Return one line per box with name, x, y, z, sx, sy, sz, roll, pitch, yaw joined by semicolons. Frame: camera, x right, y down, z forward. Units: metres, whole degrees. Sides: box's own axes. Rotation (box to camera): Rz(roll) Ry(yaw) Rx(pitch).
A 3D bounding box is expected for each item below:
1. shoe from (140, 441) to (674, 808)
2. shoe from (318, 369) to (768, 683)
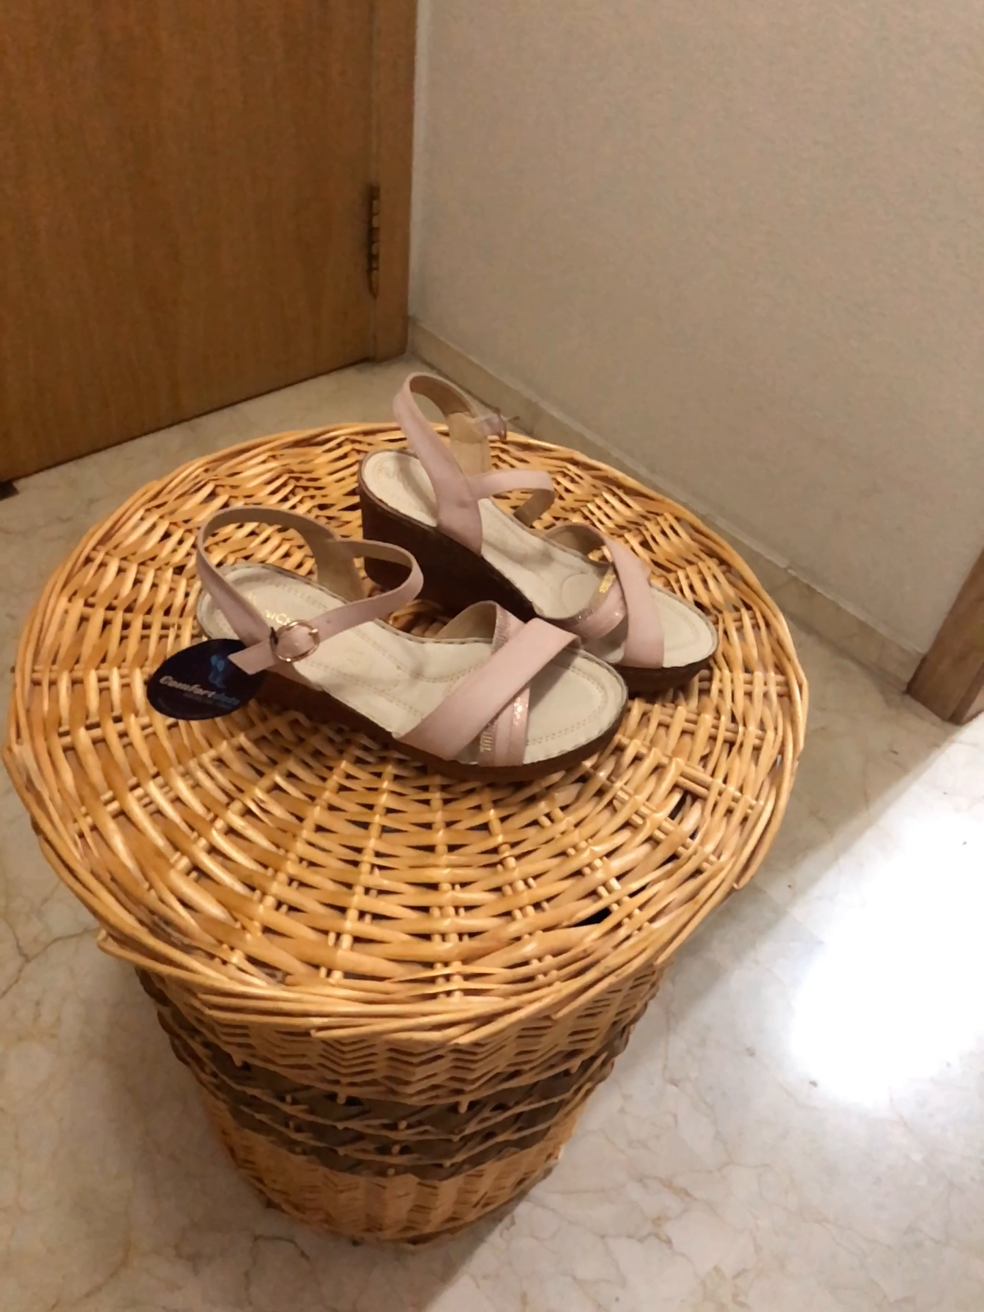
shoe;-0.045;-0.020;0.604;0.260;0.104;0.100;15;45;8
shoe;0.031;-0.083;0.673;0.251;0.100;0.112;12;44;5
